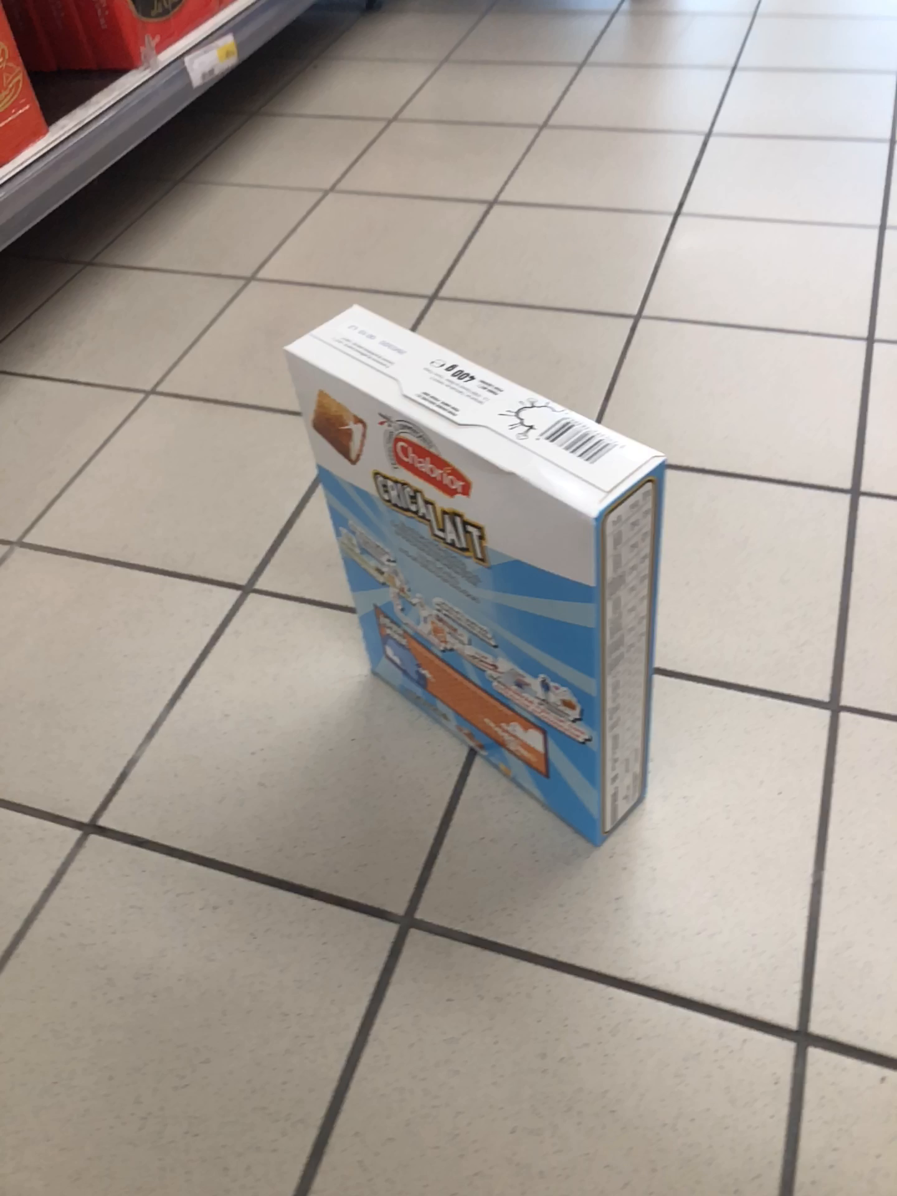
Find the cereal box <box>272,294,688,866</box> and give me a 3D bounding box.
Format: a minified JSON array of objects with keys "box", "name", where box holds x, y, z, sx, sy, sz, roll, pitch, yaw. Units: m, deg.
[{"box":[0.015,-0.002,0.510,0.050,0.249,0.200,-37,53,-26],"name":"cereal box"}]
